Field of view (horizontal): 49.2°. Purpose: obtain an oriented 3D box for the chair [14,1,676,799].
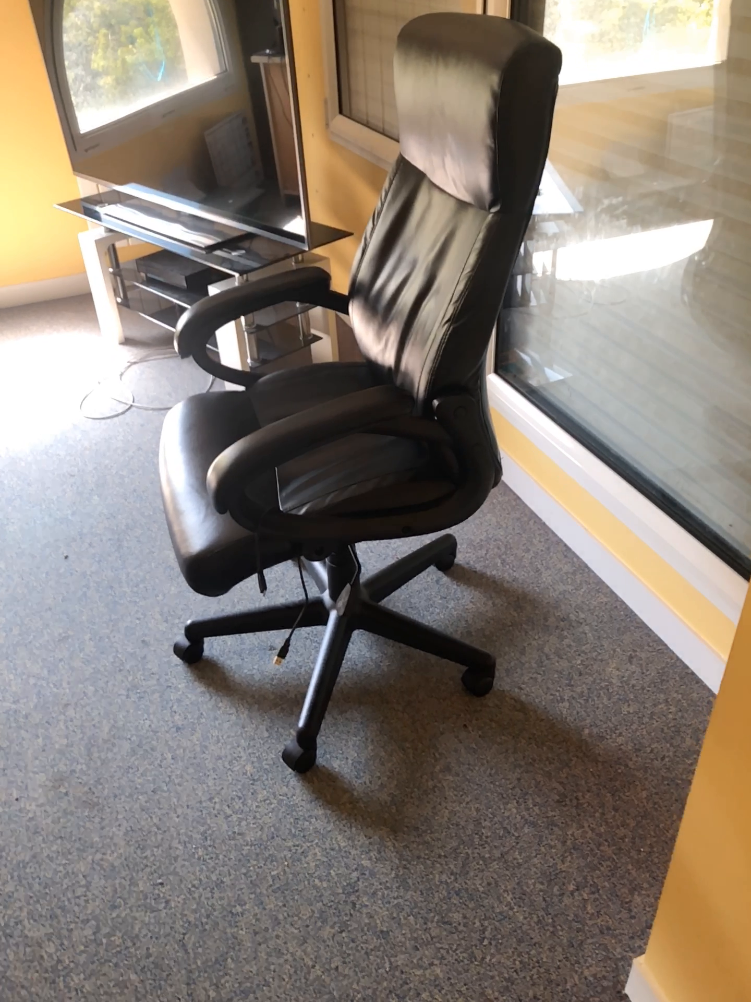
[{"bbox_3d":[-0.080,-0.196,1.463,0.751,1.113,0.663,-13,36,-14],"label":"chair"}]
